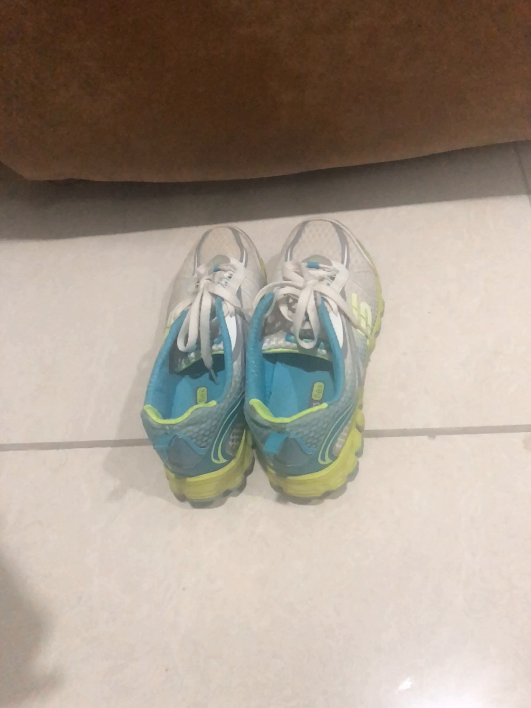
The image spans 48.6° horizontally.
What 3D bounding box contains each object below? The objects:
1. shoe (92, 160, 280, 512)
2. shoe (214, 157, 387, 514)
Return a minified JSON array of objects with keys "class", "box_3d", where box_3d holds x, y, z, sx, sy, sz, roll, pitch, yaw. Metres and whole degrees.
[{"class":"shoe","box_3d":[-0.051,-0.027,0.514,0.100,0.100,0.300,-5,54,11]},{"class":"shoe","box_3d":[0.047,-0.028,0.508,0.110,0.100,0.300,-1,55,14]}]
